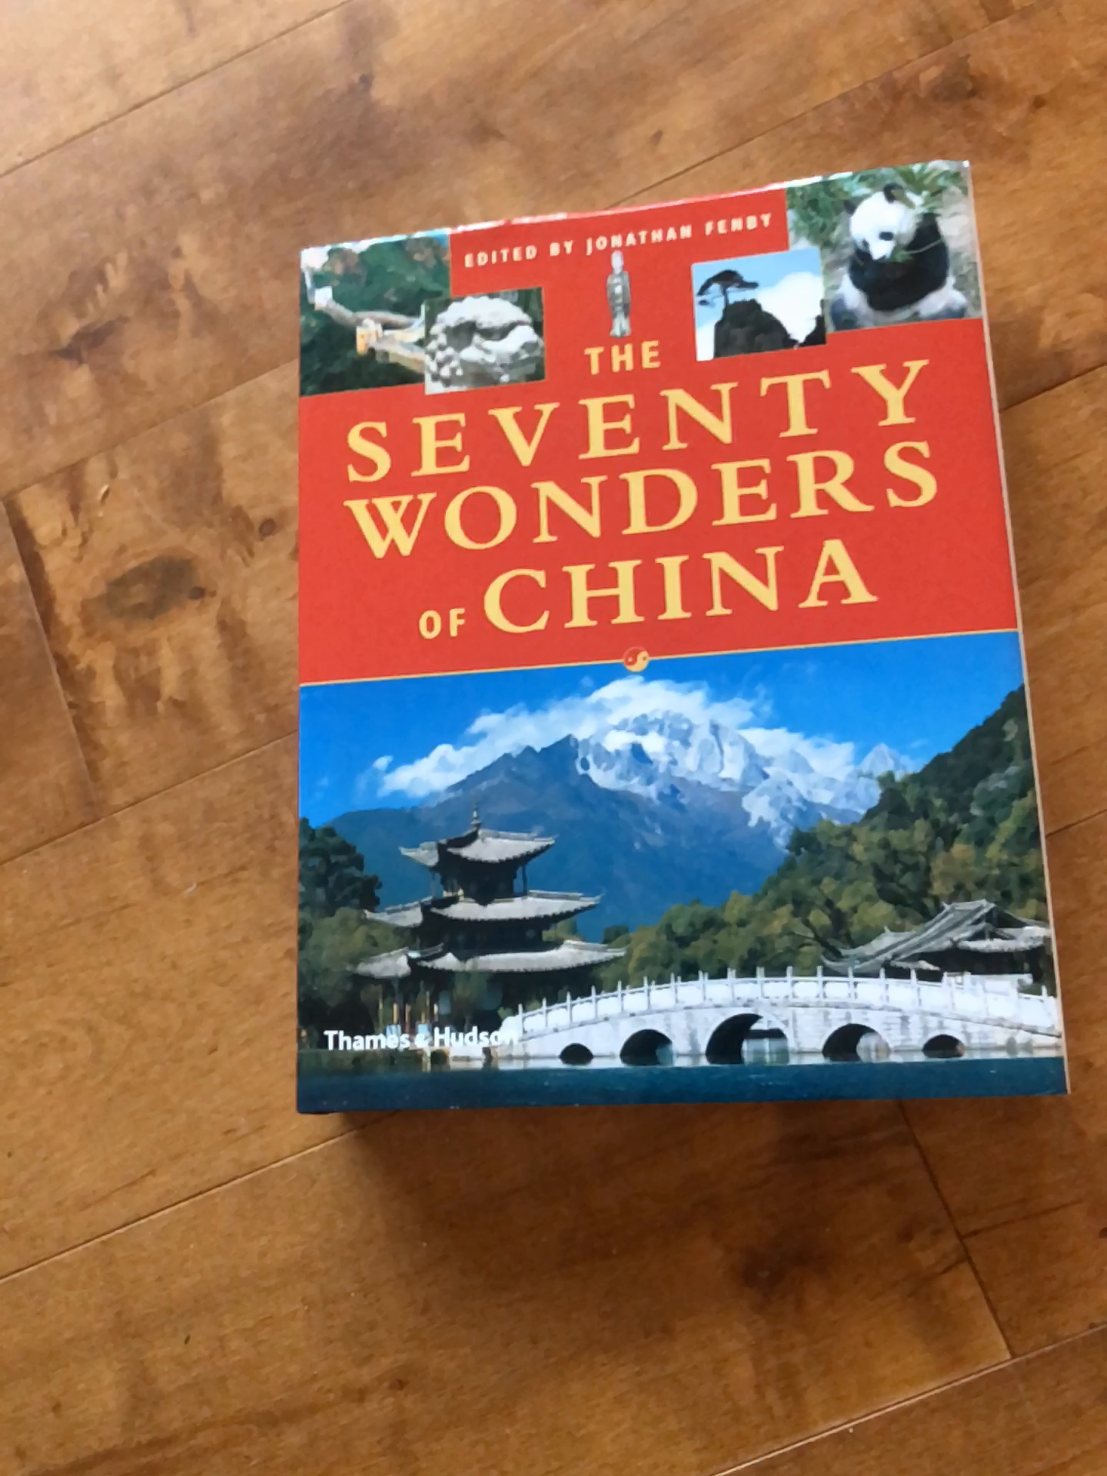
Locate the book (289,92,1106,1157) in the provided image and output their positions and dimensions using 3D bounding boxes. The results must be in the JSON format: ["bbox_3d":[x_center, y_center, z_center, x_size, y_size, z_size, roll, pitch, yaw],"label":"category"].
[{"bbox_3d":[0.035,-0.032,0.367,0.220,0.050,0.290,-4,78,9],"label":"book"}]
